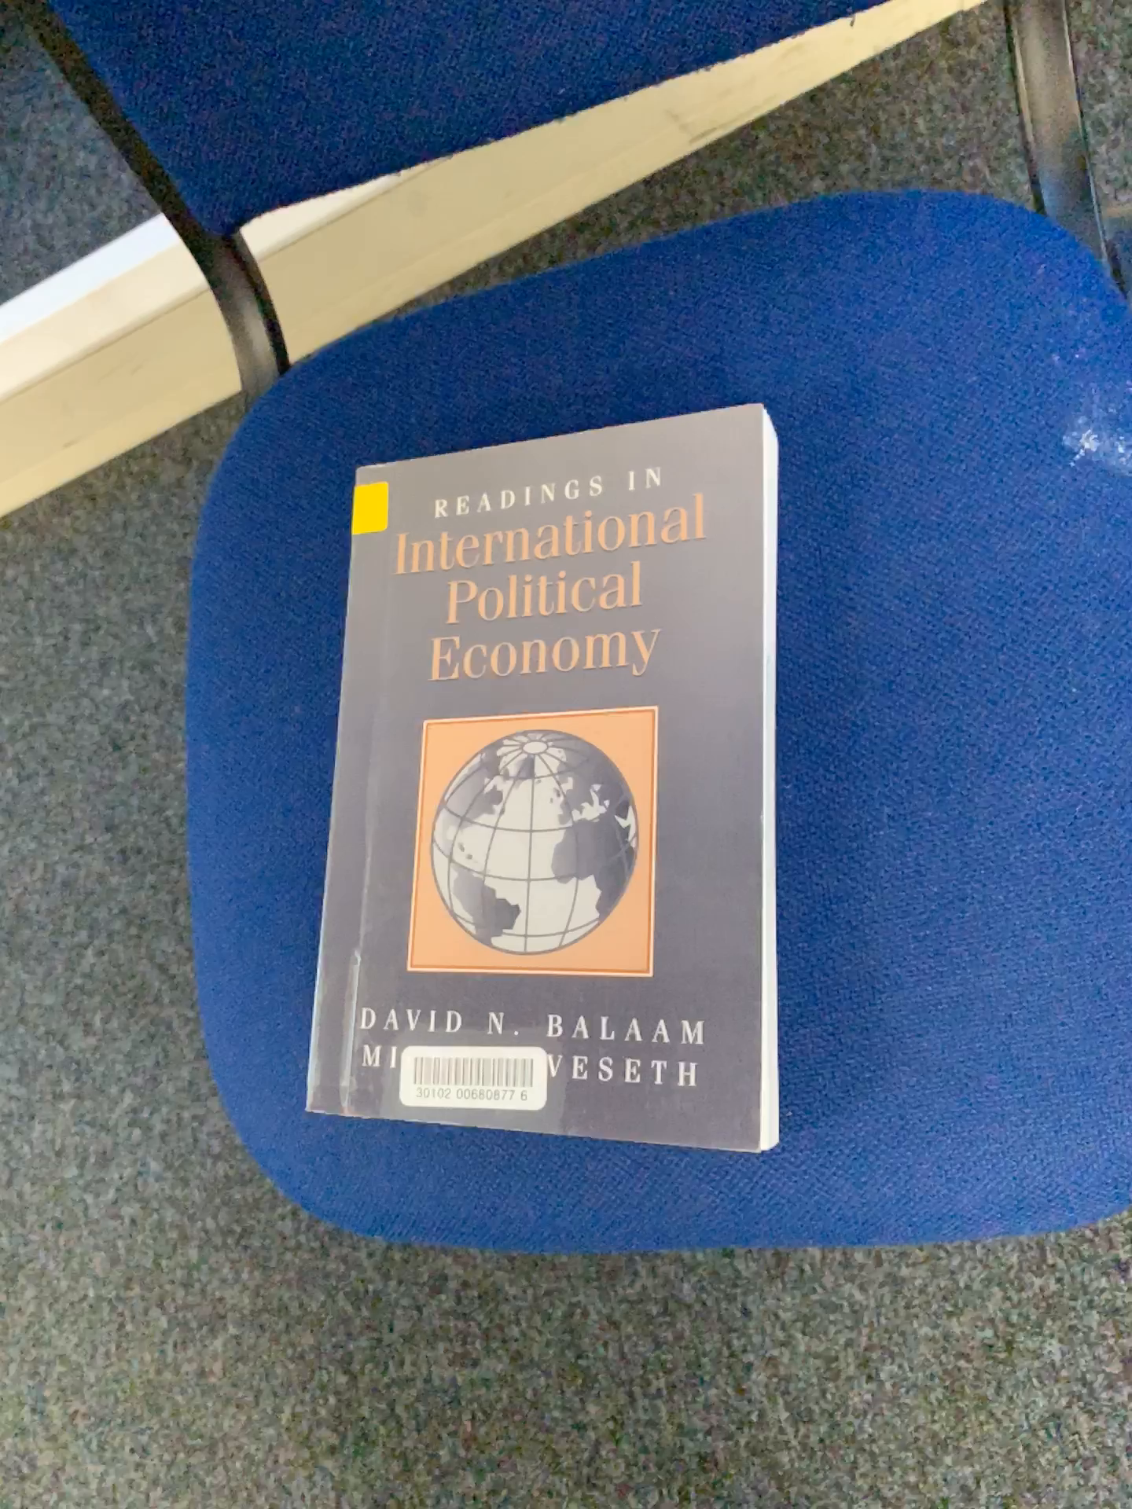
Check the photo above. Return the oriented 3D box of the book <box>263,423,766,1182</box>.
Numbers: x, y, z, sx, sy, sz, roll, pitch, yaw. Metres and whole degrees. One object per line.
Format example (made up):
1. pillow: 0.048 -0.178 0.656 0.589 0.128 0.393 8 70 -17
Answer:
1. book: -0.015 0.012 0.372 0.150 0.030 0.220 -3 76 20
